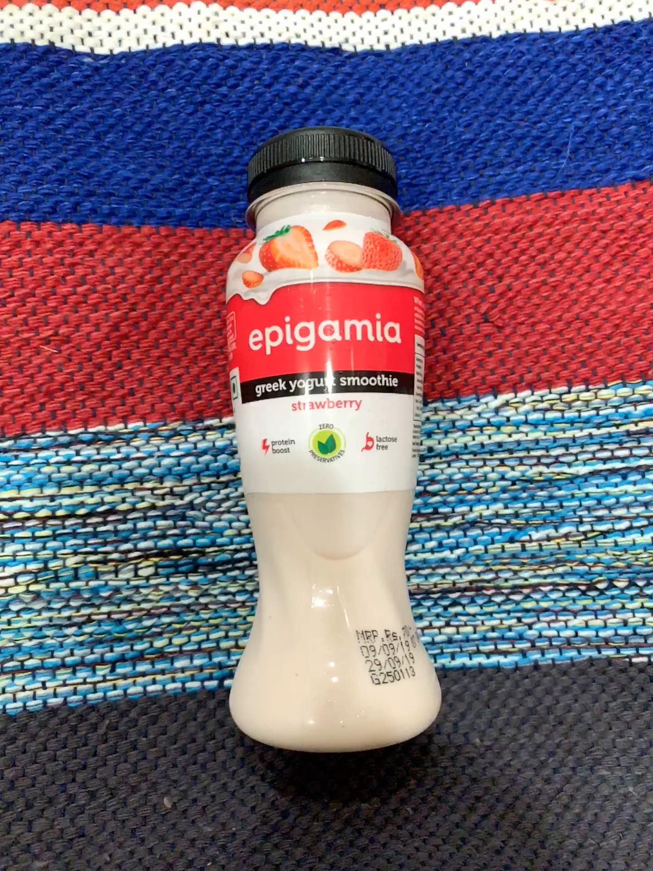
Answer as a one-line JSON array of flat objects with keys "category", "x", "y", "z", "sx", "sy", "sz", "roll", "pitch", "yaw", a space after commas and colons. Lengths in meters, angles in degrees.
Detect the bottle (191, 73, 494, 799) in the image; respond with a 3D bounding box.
[{"category": "bottle", "x": -0.001, "y": -0.003, "z": 0.176, "sx": 0.060, "sy": 0.050, "sz": 0.160, "roll": -2, "pitch": 81, "yaw": -5}]
